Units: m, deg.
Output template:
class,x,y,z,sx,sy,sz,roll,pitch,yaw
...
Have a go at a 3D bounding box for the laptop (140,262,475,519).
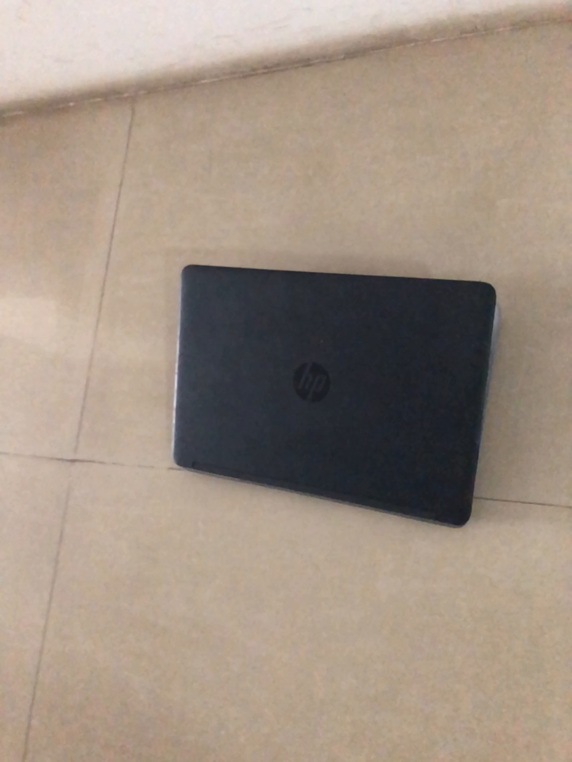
class,x,y,z,sx,sy,sz,roll,pitch,yaw
laptop,0.020,0.004,0.657,0.305,0.085,0.214,8,83,23
